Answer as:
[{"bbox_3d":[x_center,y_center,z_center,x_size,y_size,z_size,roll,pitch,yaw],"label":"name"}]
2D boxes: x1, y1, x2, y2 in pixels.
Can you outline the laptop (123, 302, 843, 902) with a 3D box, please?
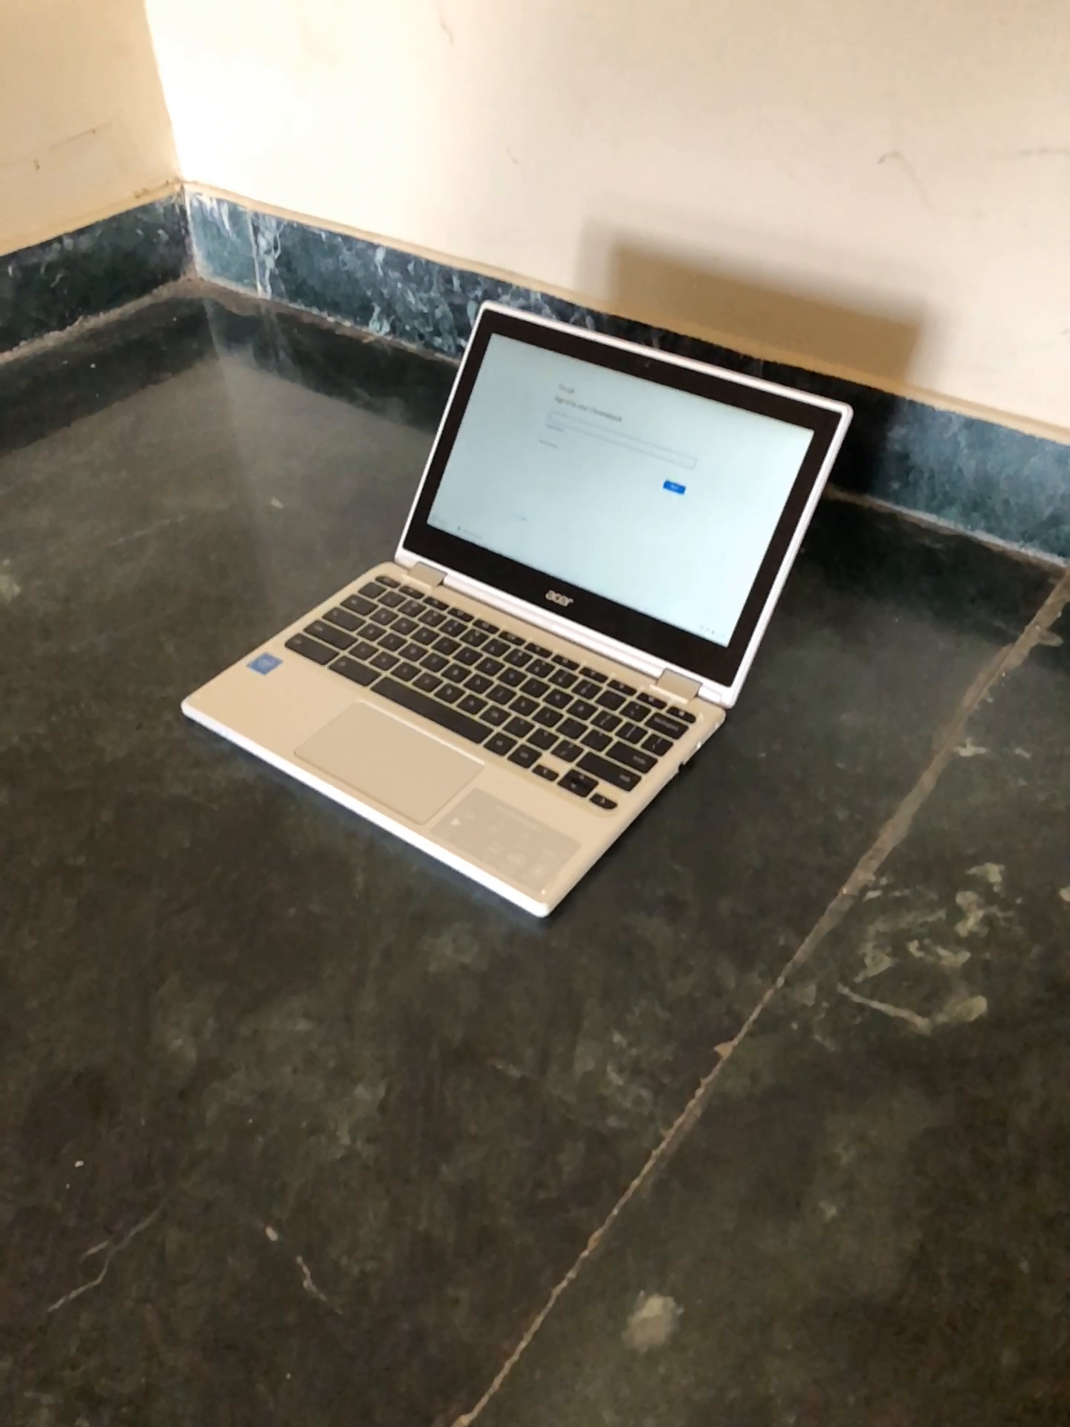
[{"bbox_3d":[-0.018,-0.096,0.732,0.281,0.156,0.315,25,47,26],"label":"laptop"}]
